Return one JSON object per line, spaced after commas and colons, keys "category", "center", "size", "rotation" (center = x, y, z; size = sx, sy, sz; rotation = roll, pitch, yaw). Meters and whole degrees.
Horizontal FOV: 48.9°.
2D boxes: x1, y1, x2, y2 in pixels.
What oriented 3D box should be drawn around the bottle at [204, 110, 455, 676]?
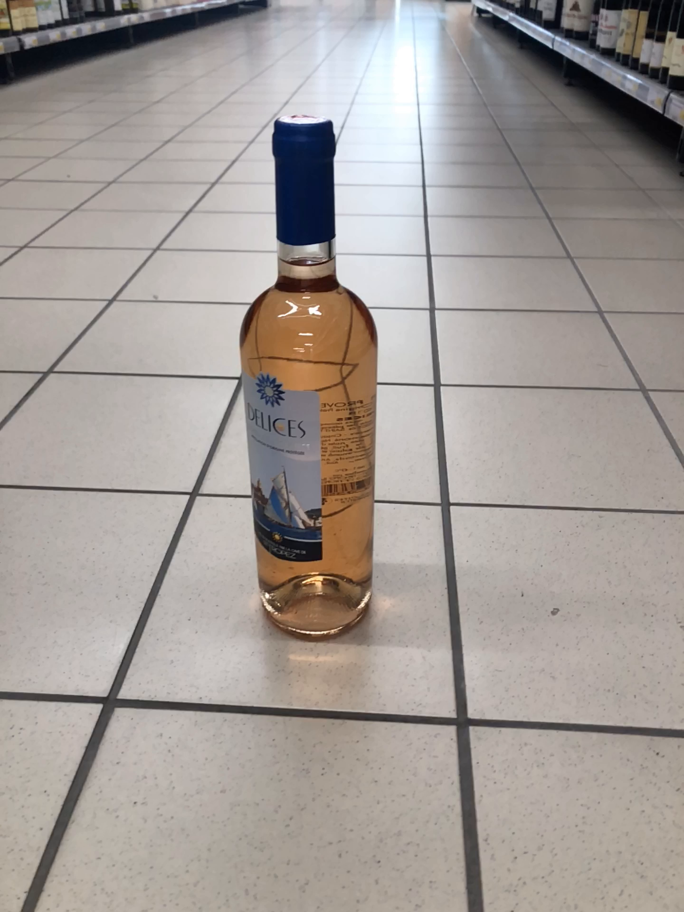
{"category": "bottle", "center": [-0.004, -0.024, 0.413], "size": [0.080, 0.288, 0.080], "rotation": [0, 32, 0]}
